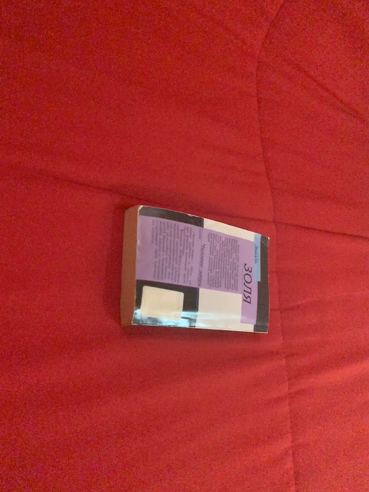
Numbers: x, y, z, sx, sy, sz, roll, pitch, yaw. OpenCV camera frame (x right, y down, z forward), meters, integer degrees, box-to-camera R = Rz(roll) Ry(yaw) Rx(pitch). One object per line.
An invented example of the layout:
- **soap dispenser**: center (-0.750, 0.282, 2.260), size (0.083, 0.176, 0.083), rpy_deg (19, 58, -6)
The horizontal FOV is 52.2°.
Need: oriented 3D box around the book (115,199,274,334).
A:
- **book**: center (0.019, 0.030, 0.379), size (0.171, 0.033, 0.109), rpy_deg (12, 72, -36)
